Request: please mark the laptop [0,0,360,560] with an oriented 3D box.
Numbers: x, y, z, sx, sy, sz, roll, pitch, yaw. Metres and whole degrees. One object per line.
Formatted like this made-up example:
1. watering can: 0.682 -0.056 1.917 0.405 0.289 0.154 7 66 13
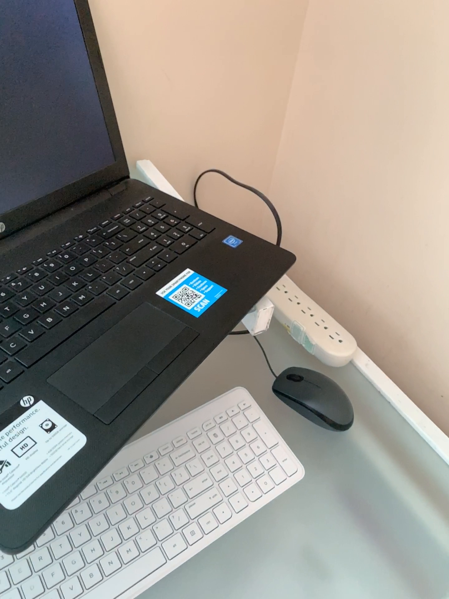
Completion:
1. laptop: -0.135 -0.097 0.362 0.307 0.222 0.366 27 45 20
